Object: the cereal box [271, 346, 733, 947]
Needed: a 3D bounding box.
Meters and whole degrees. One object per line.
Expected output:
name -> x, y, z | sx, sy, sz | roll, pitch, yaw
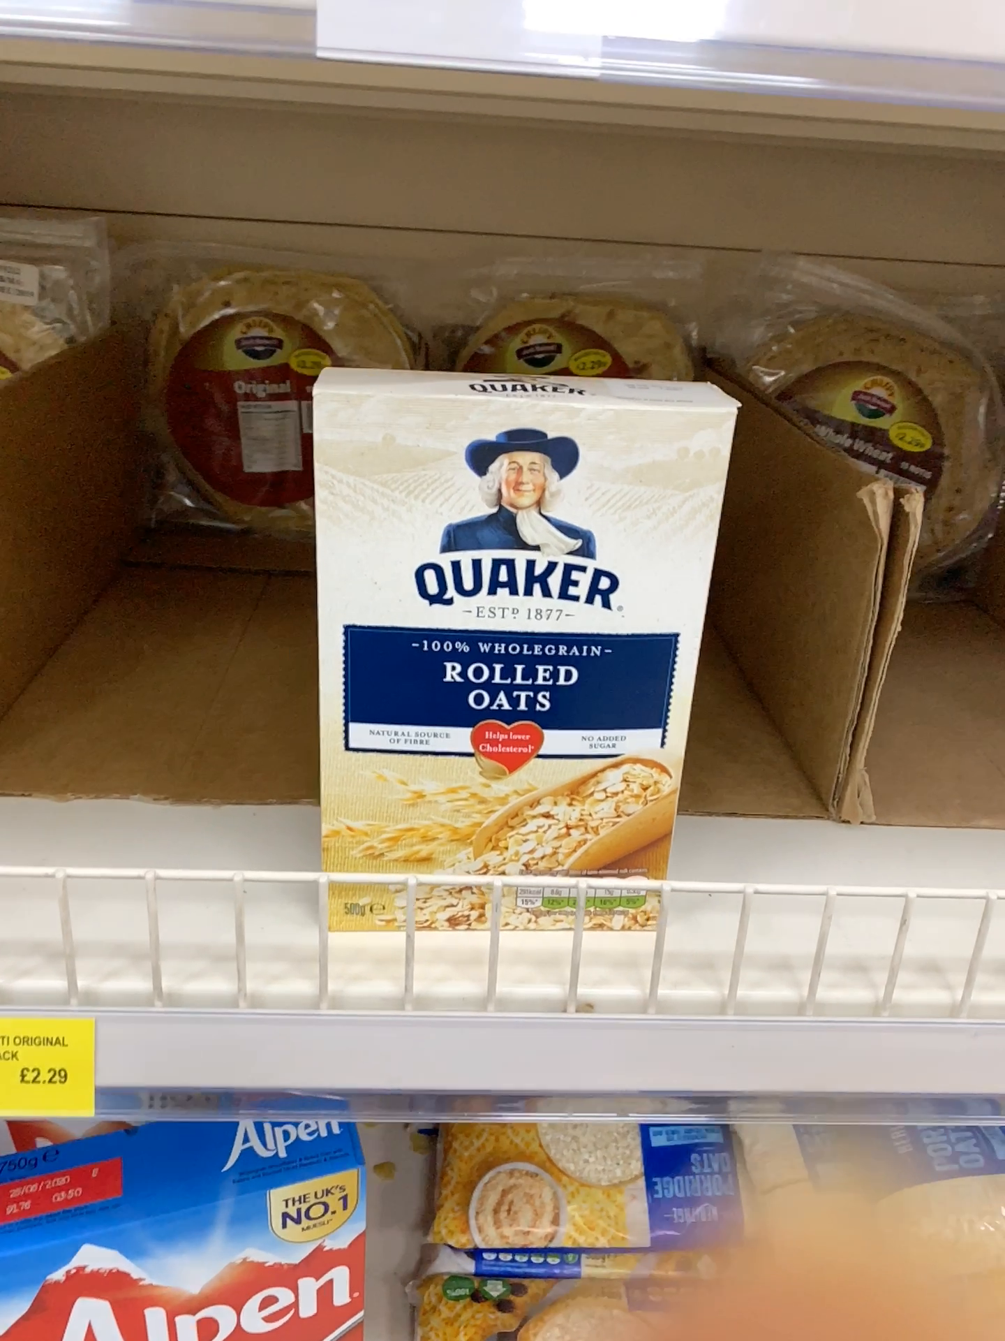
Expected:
cereal box -> -0.006, -0.001, 0.403 | 0.150, 0.228, 0.050 | 1, 24, -5
